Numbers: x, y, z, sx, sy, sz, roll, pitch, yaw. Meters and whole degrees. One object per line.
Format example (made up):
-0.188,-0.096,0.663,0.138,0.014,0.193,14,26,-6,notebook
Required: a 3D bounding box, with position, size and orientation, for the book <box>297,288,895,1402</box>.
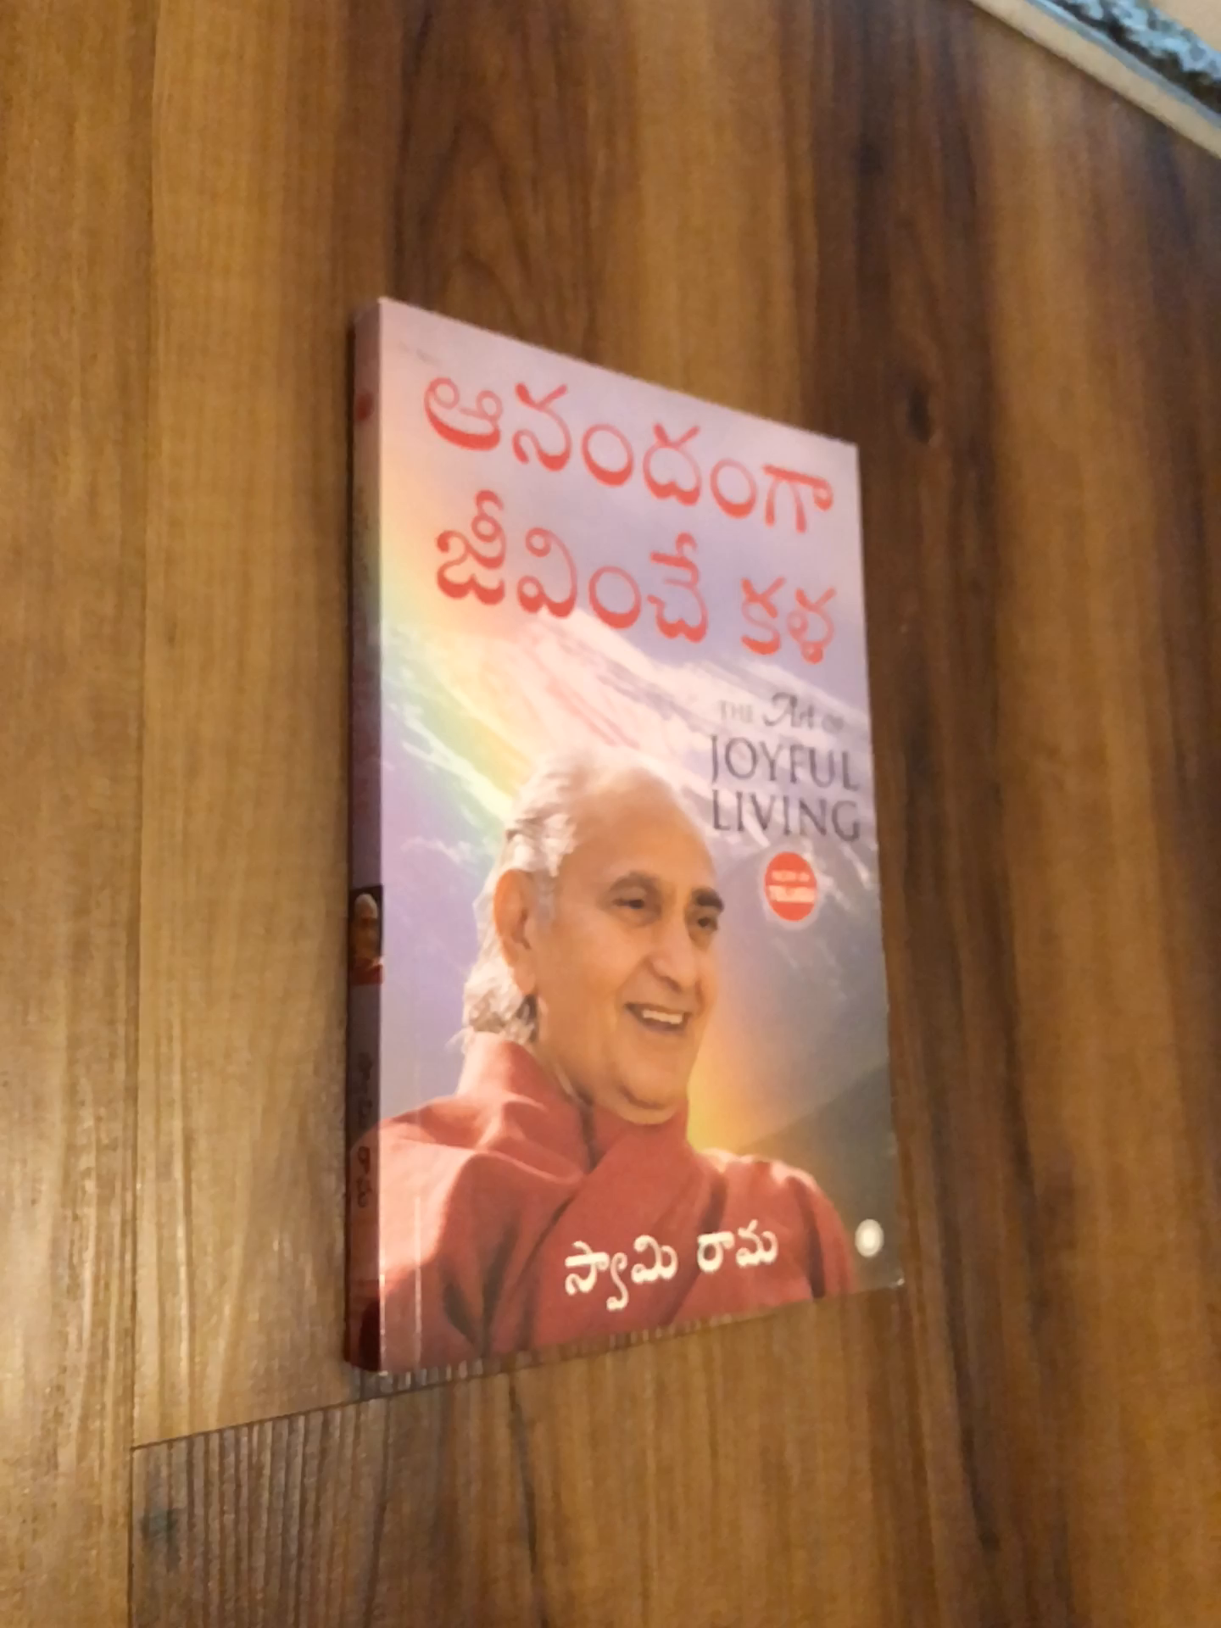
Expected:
0.004,0.007,0.317,0.145,0.020,0.219,5,81,-34,book
